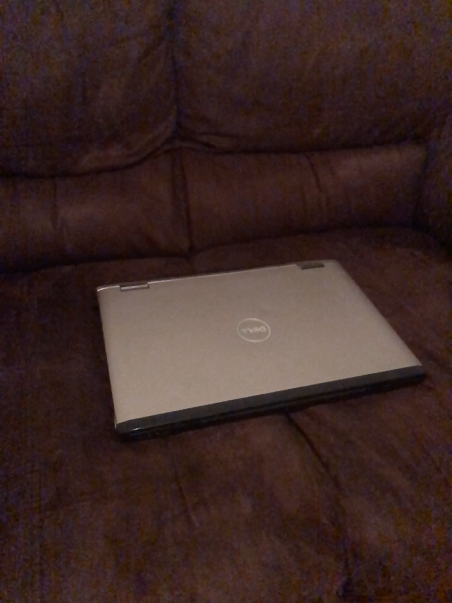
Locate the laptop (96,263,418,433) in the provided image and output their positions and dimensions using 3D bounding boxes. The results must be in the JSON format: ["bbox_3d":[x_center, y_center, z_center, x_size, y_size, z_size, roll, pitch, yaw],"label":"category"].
[{"bbox_3d":[0.027,0.037,0.675,0.370,0.002,0.261,-8,39,-17],"label":"laptop"}]
